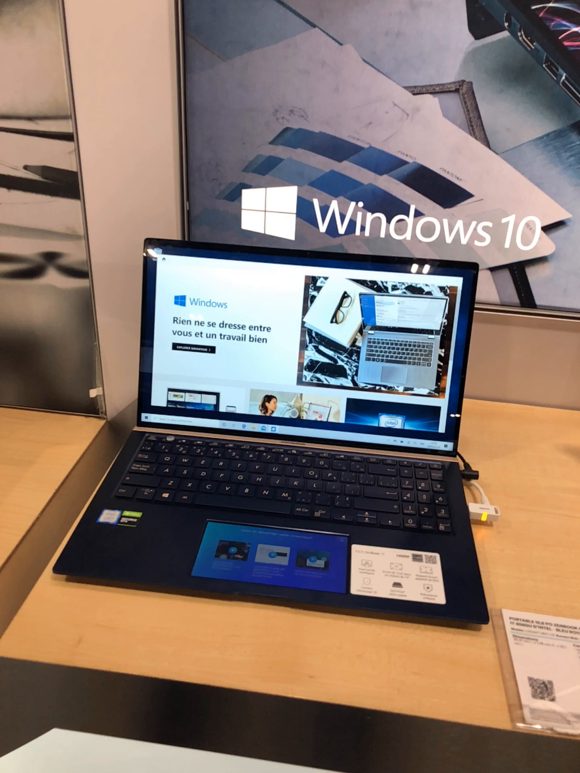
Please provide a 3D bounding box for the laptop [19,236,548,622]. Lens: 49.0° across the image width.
[{"bbox_3d":[0.000,0.012,0.565,0.338,0.183,0.274,6,30,3],"label":"laptop"}]
